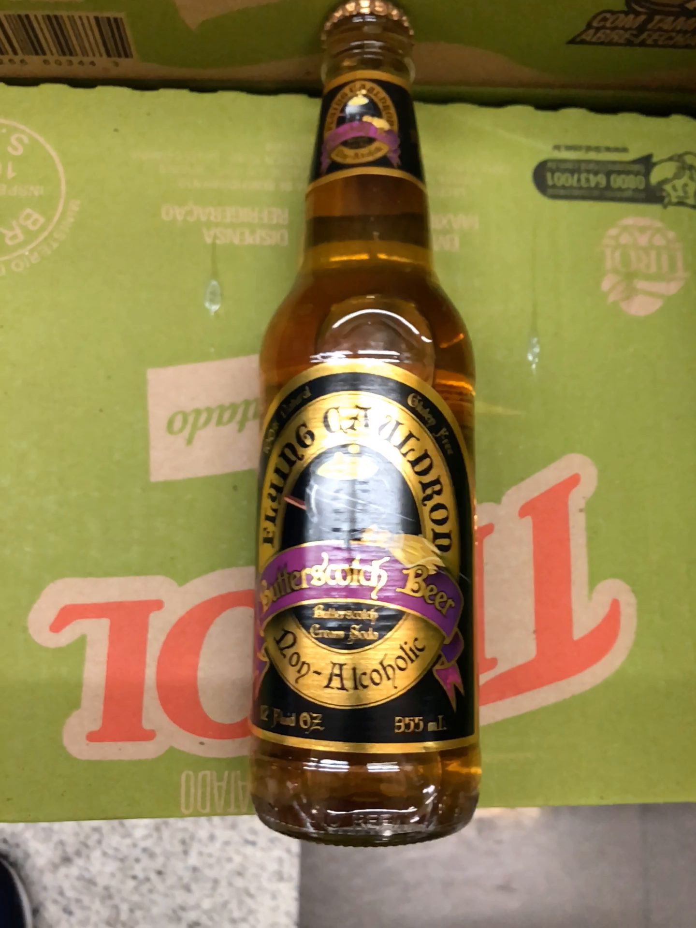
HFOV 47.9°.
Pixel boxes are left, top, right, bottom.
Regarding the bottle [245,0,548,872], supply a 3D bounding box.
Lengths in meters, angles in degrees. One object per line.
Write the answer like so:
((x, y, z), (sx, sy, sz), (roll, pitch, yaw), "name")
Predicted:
((0.009, -0.033, 0.223), (0.070, 0.050, 0.260), (1, 81, -5), "bottle")
